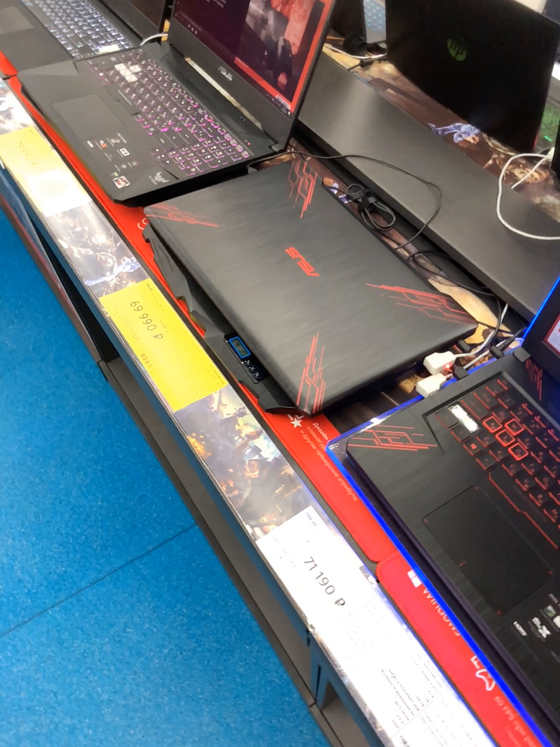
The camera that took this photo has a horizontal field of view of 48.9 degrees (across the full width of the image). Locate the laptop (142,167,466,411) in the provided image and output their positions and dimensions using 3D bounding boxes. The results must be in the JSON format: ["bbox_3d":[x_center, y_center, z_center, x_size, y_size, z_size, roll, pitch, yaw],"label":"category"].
[{"bbox_3d":[0.021,-0.131,0.762,0.239,0.003,0.358,-26,59,-25],"label":"laptop"}]
